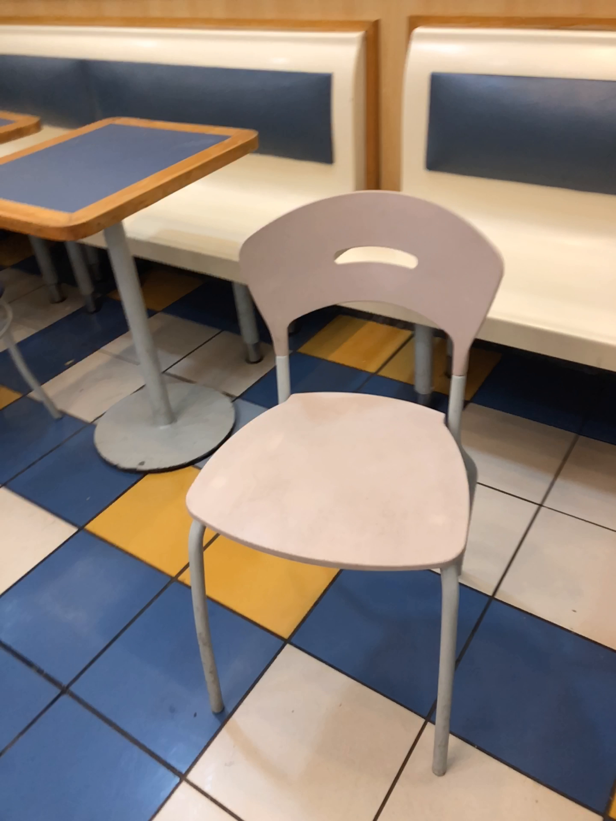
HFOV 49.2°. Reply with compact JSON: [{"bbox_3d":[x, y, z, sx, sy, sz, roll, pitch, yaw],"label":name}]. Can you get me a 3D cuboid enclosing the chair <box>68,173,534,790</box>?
[{"bbox_3d":[0.058,0.106,1.071,0.450,0.794,0.473,8,38,18],"label":"chair"}]
